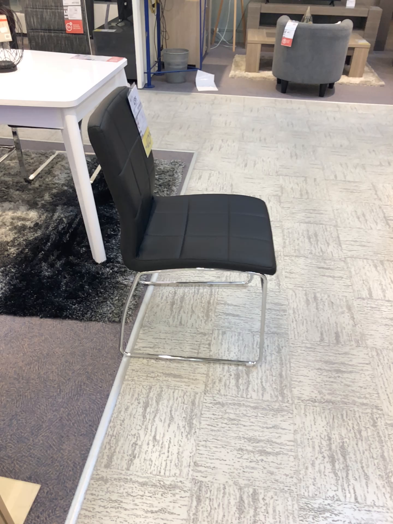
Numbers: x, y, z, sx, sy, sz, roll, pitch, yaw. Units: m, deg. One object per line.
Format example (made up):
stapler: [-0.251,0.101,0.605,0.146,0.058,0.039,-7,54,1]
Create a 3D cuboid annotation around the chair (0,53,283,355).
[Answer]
chair: [-0.142,-0.181,1.402,0.630,0.795,0.553,-1,38,-3]
